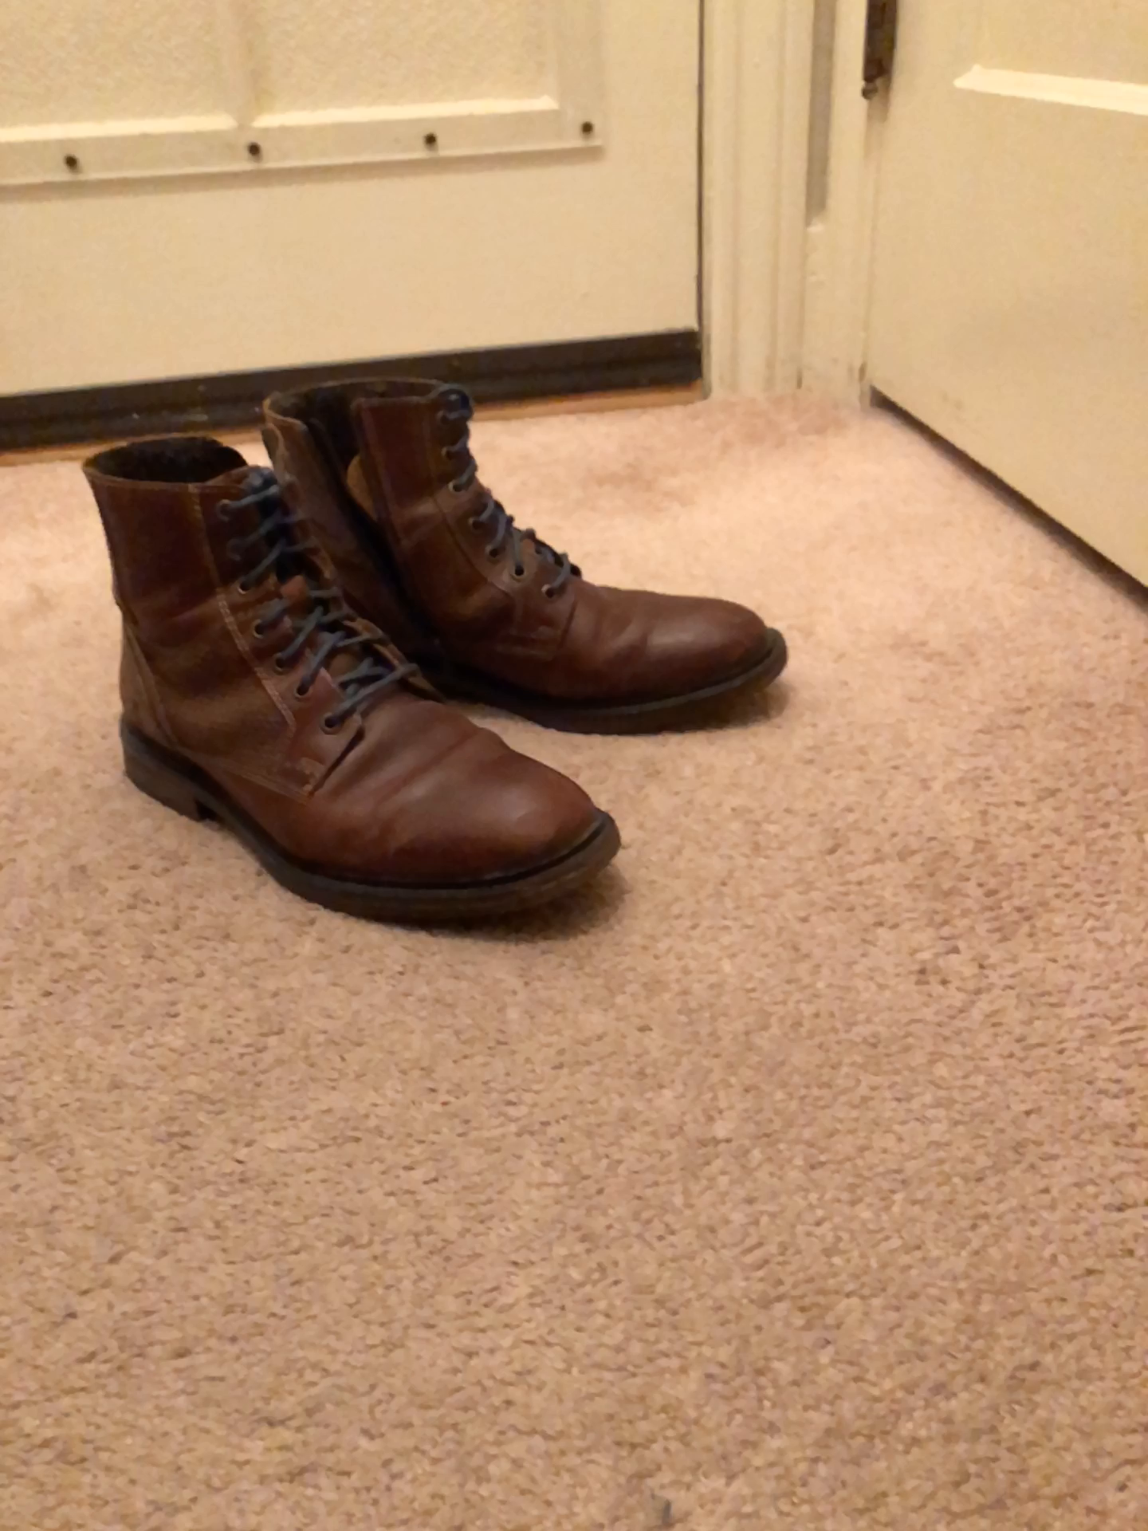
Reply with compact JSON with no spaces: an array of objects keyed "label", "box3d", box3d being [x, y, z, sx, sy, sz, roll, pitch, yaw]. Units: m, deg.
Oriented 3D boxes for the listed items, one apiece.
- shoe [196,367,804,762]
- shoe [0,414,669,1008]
[{"label":"shoe","box3d":[-0.033,-0.119,0.711,0.301,0.172,0.111,6,32,14]},{"label":"shoe","box3d":[-0.119,-0.044,0.597,0.316,0.172,0.113,19,37,33]}]
